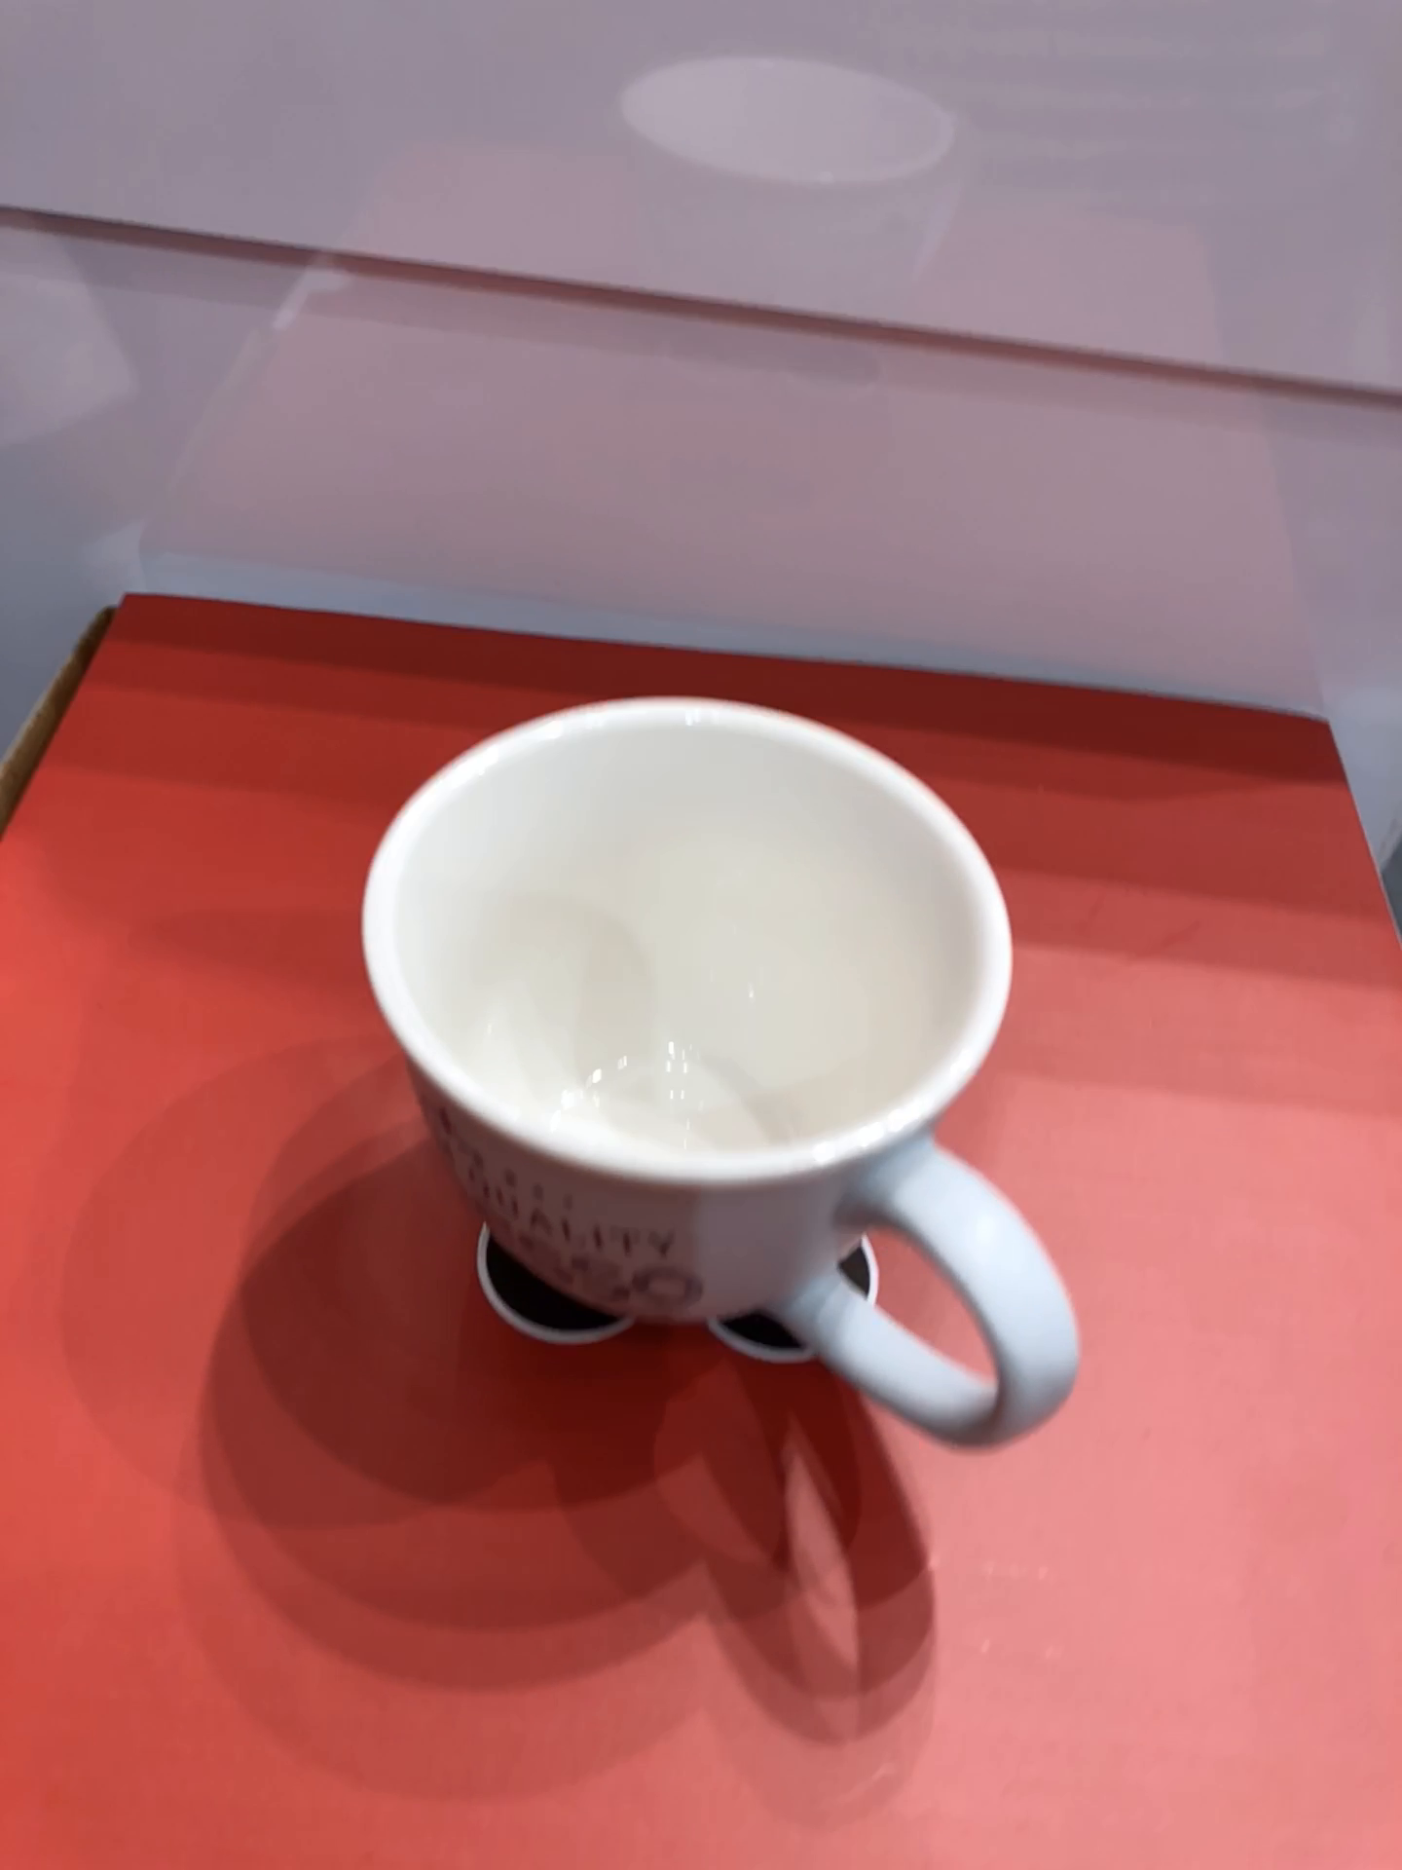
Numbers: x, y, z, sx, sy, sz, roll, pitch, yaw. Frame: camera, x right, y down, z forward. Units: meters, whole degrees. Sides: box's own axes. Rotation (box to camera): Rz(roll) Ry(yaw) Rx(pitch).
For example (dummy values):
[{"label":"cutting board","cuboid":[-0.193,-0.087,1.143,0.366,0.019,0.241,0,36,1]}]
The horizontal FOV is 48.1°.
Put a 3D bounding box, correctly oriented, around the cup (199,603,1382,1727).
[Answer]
[{"label":"cup","cuboid":[0.006,0.016,0.171,0.080,0.040,0.090,-26,56,-28]}]
